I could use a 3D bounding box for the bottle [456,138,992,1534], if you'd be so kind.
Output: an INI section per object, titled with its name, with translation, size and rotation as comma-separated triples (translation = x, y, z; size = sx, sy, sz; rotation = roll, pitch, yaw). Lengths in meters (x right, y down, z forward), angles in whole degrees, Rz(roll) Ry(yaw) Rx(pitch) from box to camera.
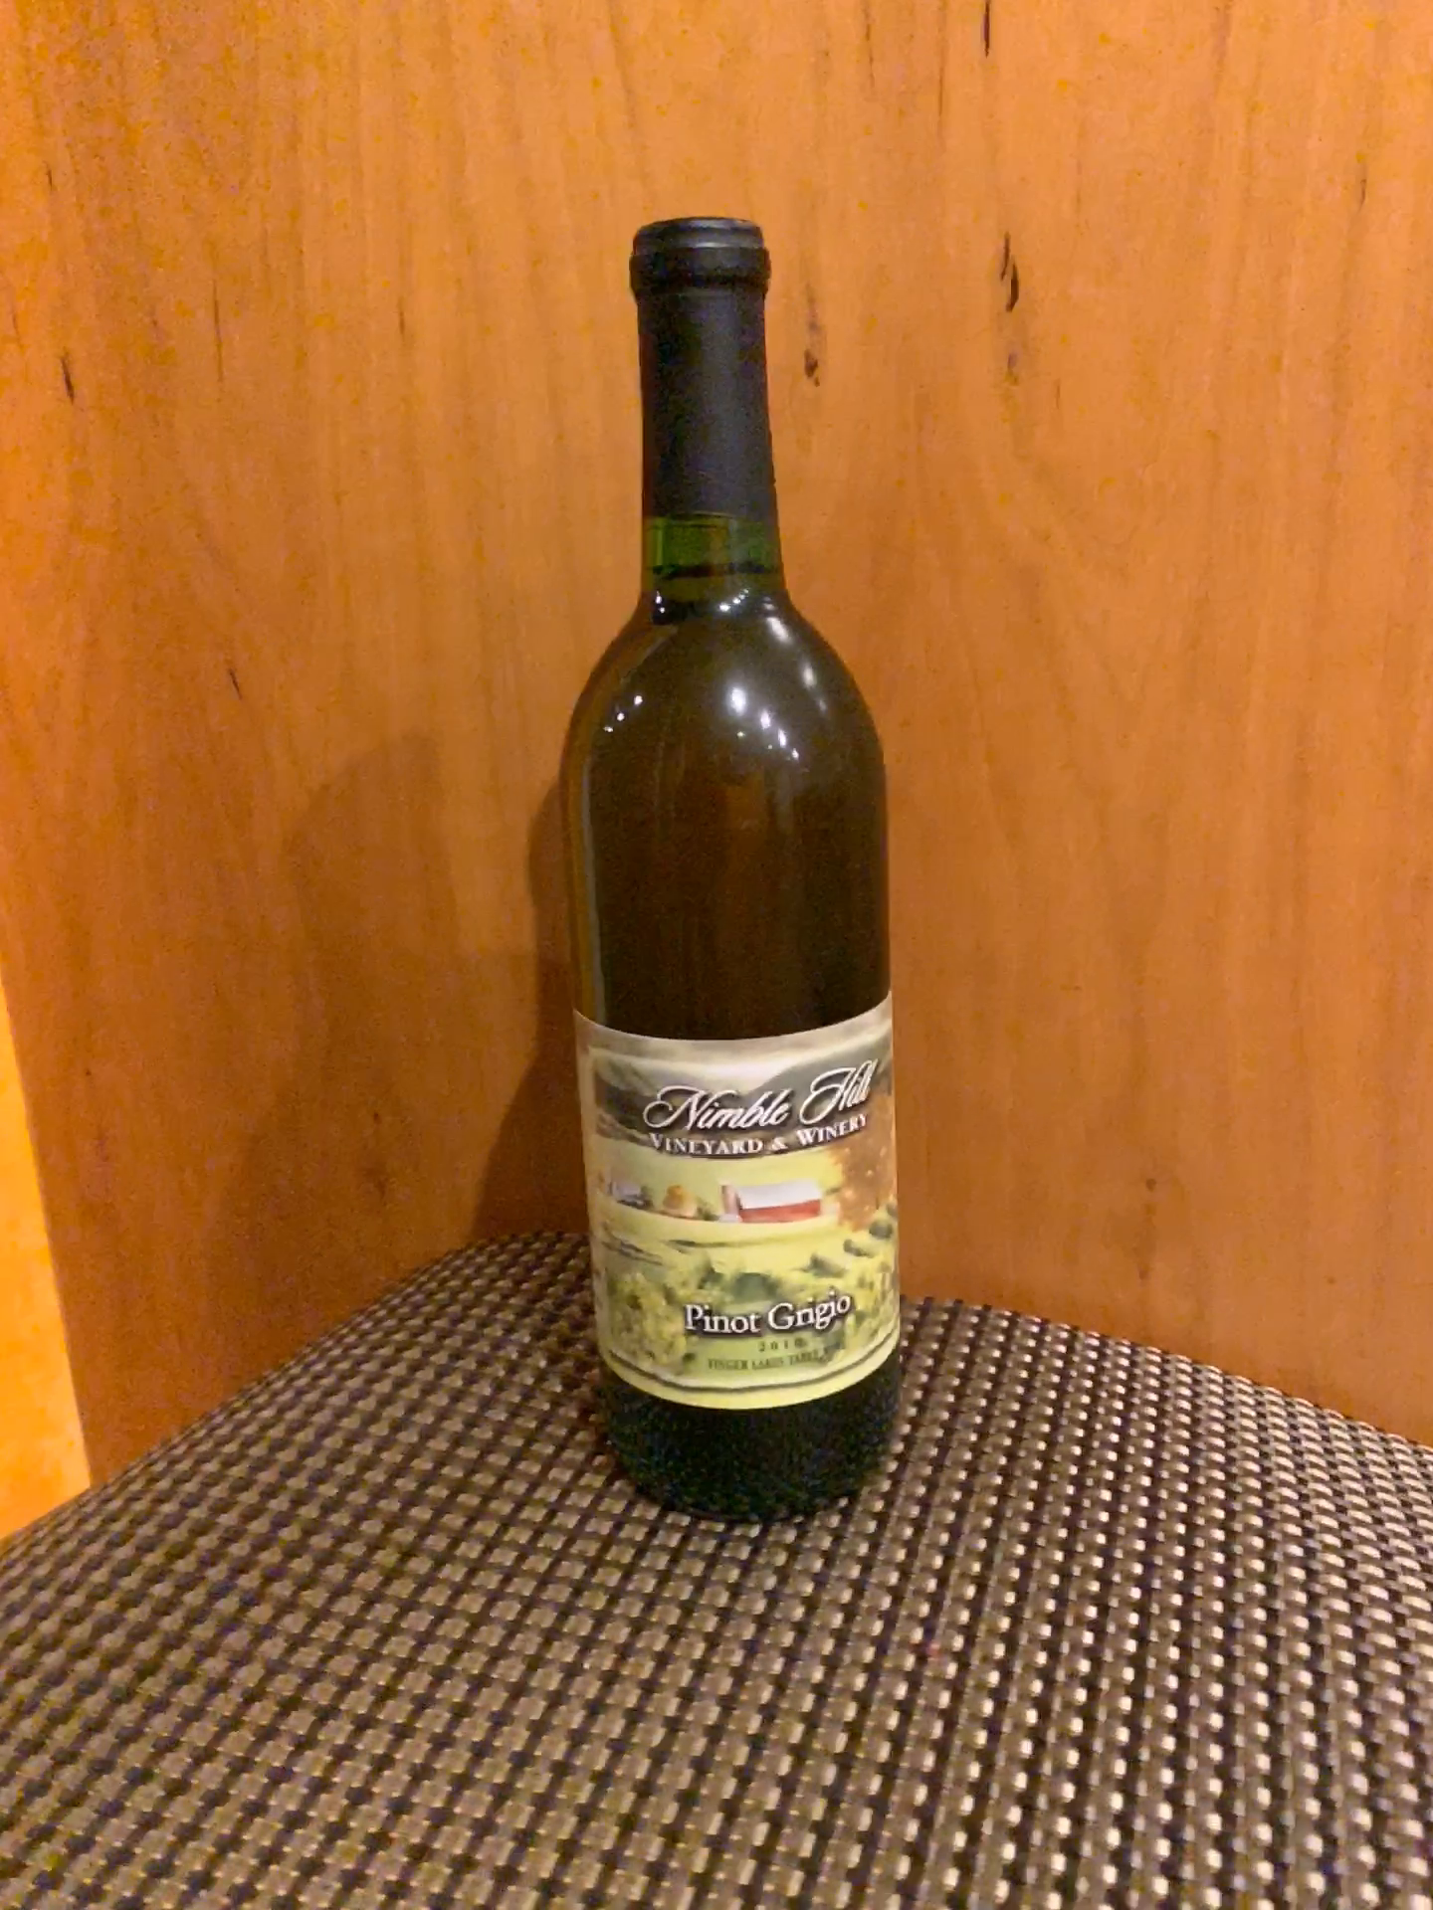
[bottle]
translation = 0.007, -0.016, 0.322
size = 0.090, 0.269, 0.080
rotation = -2, 15, 3
